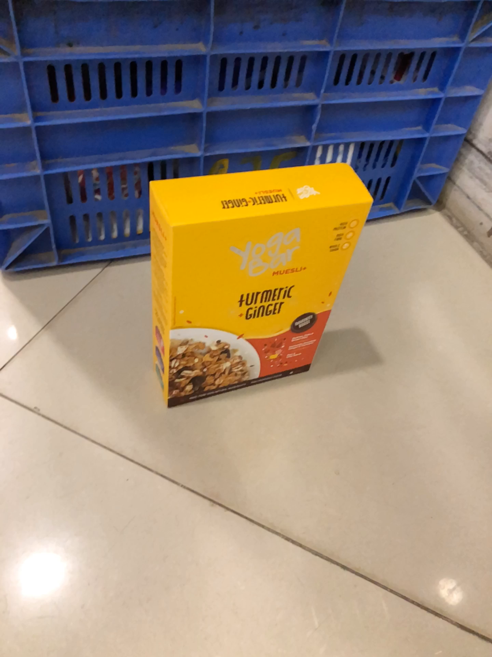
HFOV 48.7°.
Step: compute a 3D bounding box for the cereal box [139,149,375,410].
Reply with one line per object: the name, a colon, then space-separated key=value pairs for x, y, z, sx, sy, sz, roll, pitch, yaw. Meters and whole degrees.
cereal box: x=-0.002 y=-0.035 z=0.494 sx=0.170 sy=0.229 sz=0.060 roll=-12 pitch=51 yaw=-19
